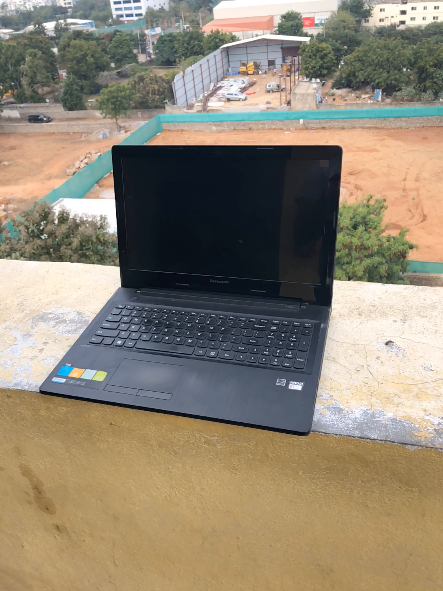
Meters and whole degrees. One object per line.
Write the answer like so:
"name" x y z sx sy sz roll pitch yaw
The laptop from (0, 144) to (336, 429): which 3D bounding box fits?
"laptop" -0.040 -0.046 0.695 0.366 0.229 0.331 5 35 15
